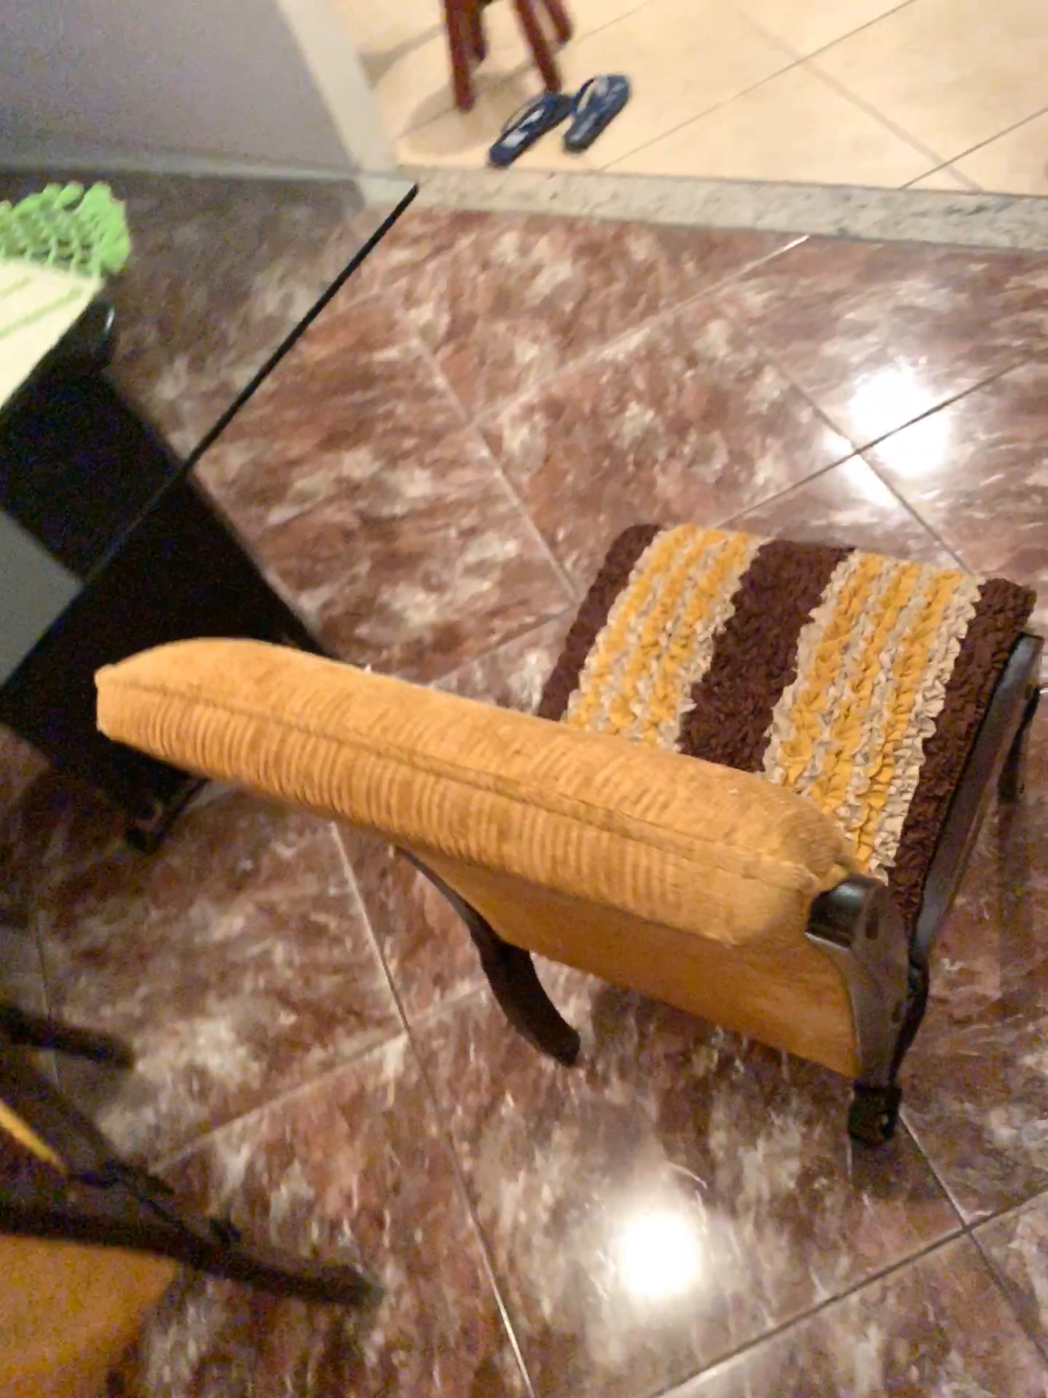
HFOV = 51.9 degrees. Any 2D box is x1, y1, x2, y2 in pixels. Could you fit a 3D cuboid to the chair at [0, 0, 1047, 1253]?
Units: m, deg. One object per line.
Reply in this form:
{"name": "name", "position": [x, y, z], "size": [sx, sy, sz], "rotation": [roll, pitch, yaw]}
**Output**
{"name": "chair", "position": [0.166, 0.015, 0.951], "size": [0.561, 0.936, 0.601], "rotation": [14, 65, 26]}
